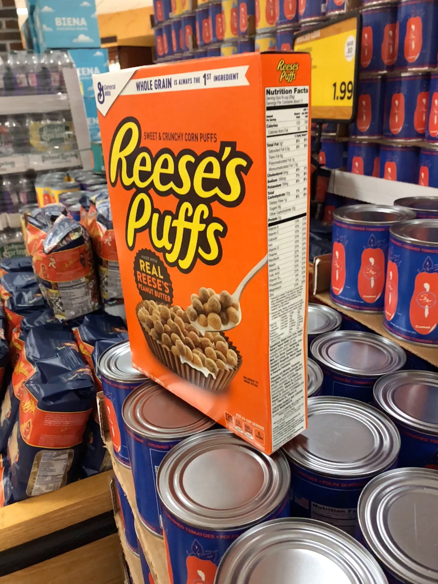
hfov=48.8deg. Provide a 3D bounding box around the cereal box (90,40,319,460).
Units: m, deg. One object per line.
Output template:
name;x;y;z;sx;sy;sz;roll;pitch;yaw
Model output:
cereal box;-0.016;-0.037;0.404;0.050;0.288;0.201;-21;27;-37
